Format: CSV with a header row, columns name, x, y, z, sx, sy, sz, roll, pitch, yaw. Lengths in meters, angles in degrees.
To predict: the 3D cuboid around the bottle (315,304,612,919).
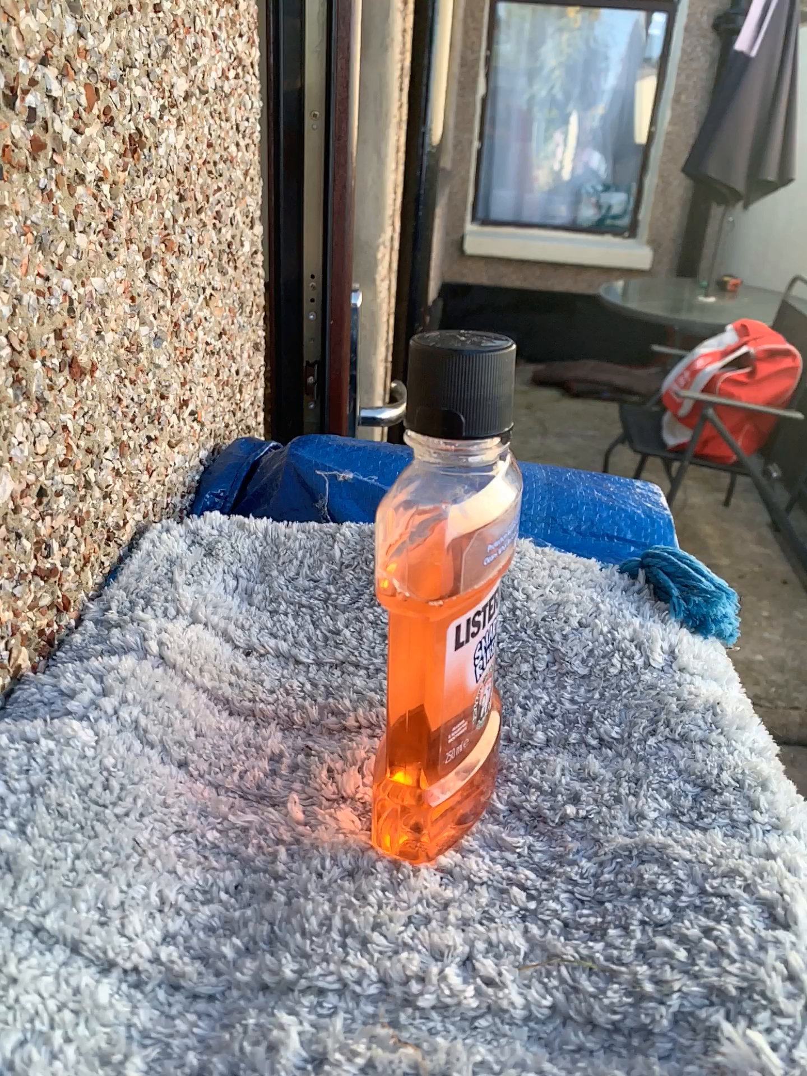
name,x,y,z,sx,sy,sz,roll,pitch,yaw
bottle,0.018,0.019,0.259,0.050,0.159,0.091,14,28,19
